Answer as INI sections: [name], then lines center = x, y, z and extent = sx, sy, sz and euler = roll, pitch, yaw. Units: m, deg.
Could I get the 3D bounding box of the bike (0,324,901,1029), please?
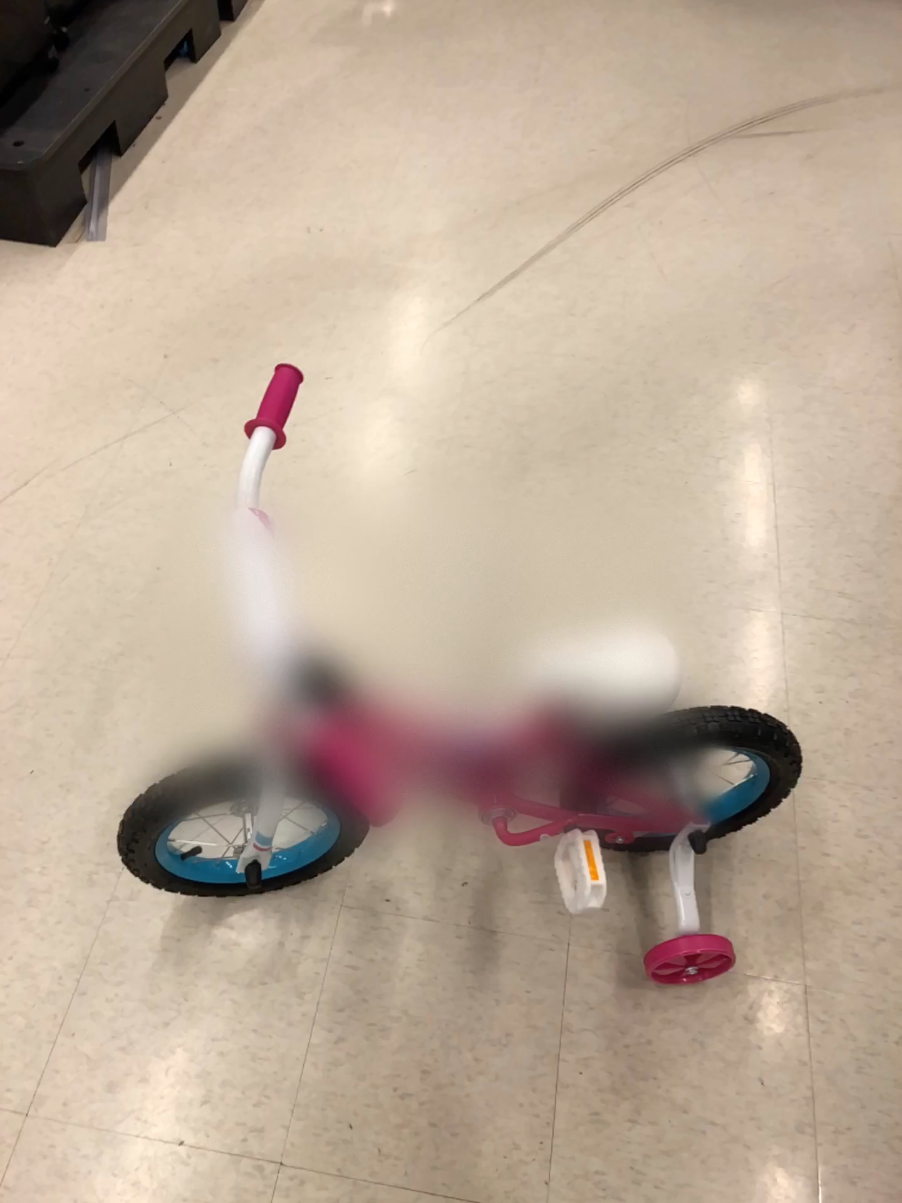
[bike]
center = 0.018, 0.102, 1.083
extent = 0.814, 0.625, 0.463
euler = -3, 52, -8
